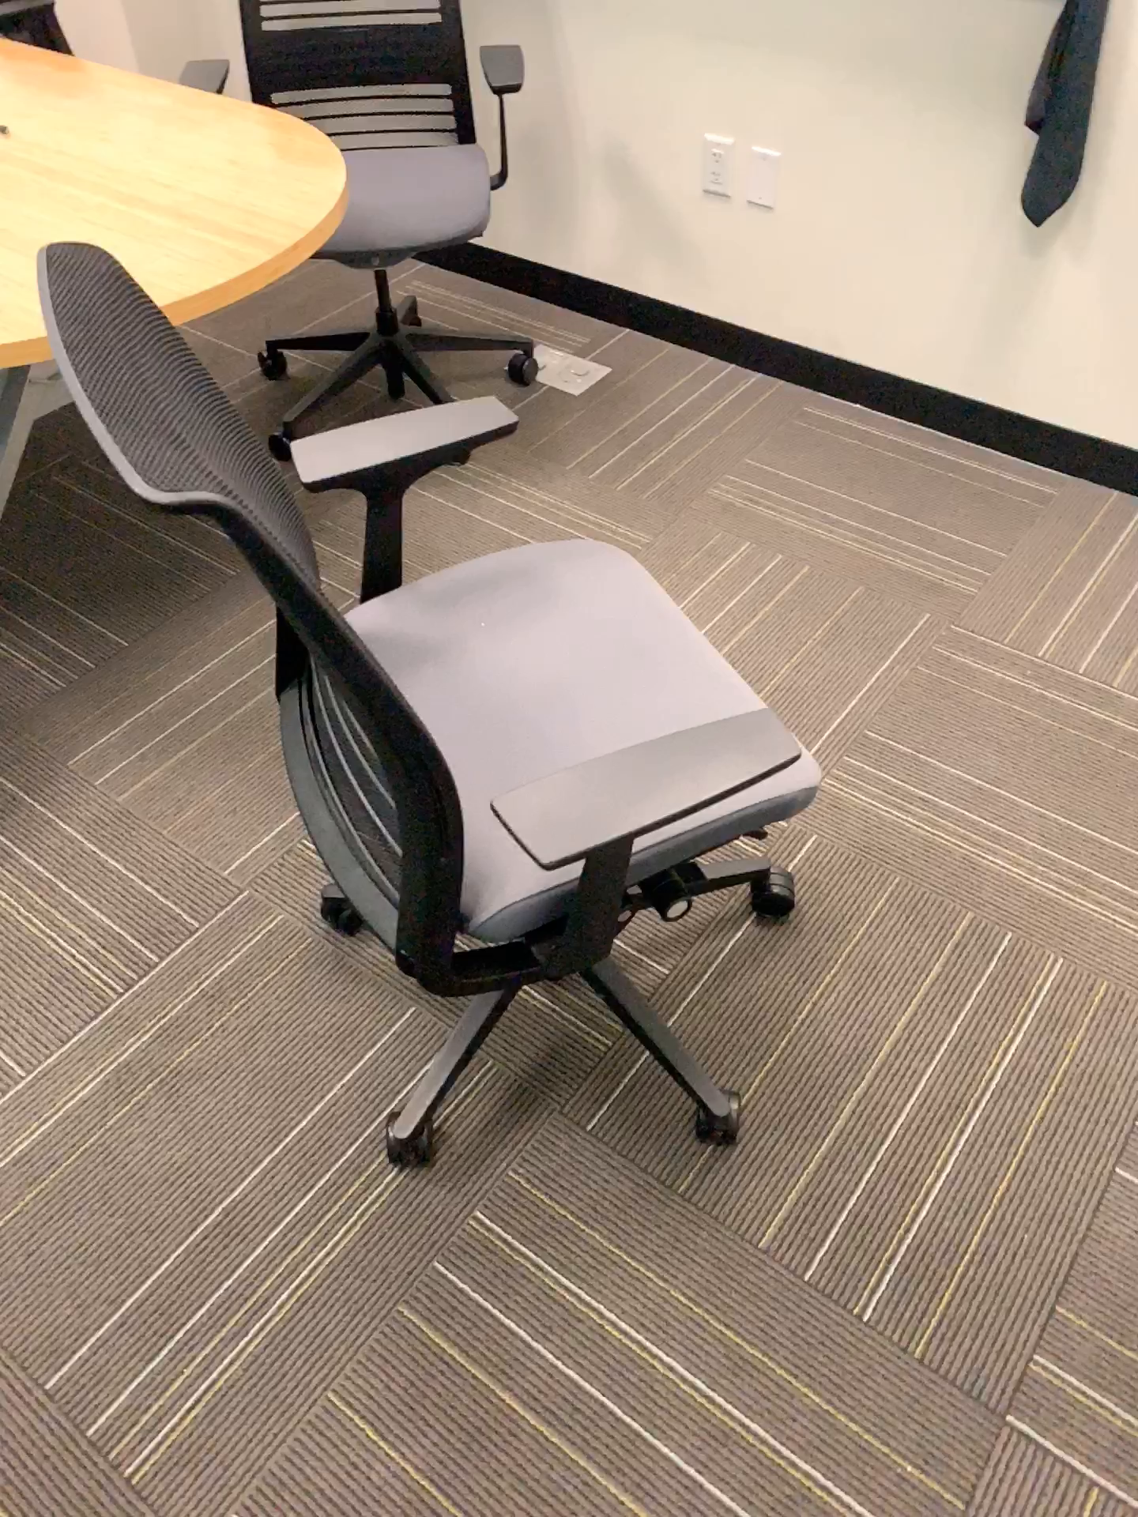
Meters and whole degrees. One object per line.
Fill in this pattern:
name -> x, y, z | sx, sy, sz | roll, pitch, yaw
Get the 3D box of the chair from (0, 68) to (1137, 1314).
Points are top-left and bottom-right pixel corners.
chair -> -0.058, -0.041, 1.244 | 0.690, 0.994, 0.654 | -19, 49, -16
